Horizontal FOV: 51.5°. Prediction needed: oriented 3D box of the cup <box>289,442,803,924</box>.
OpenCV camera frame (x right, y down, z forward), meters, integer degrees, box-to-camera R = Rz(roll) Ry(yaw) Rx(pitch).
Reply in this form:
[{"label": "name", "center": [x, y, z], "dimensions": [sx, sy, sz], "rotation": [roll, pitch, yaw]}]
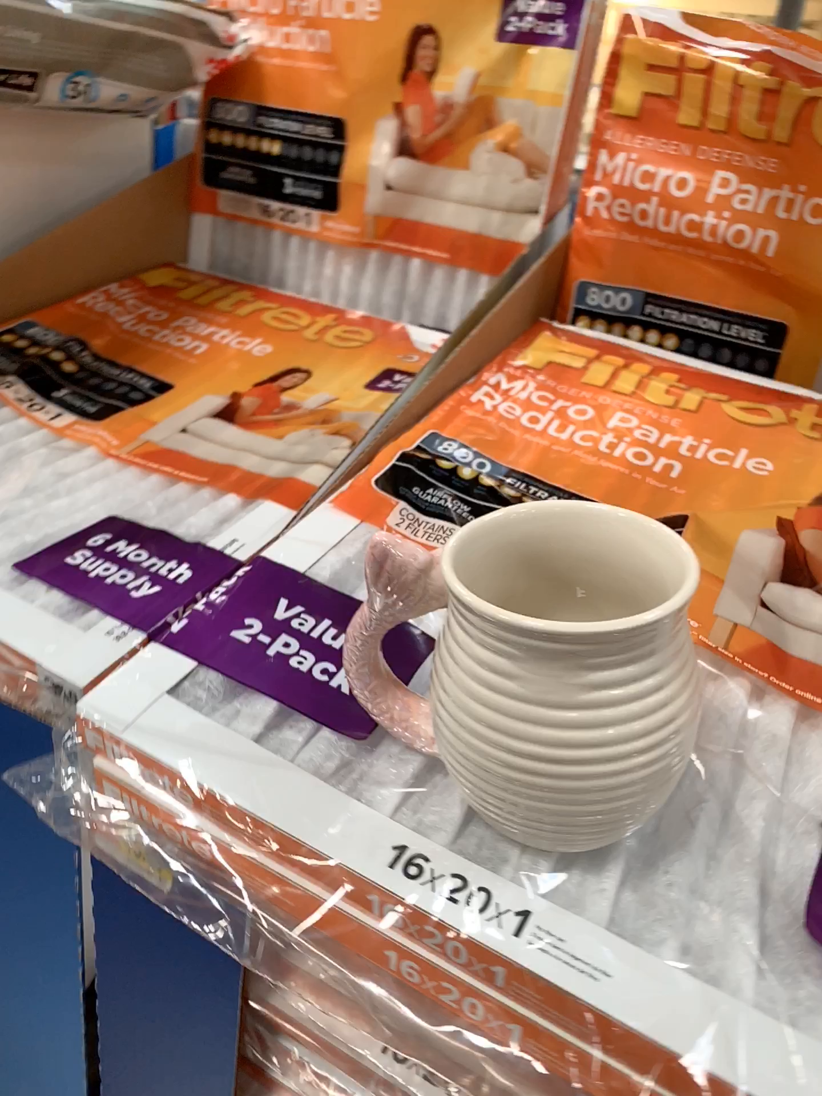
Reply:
[{"label": "cup", "center": [0.047, 0.035, 0.307], "dimensions": [0.141, 0.090, 0.100], "rotation": [18, 35, 28]}]
